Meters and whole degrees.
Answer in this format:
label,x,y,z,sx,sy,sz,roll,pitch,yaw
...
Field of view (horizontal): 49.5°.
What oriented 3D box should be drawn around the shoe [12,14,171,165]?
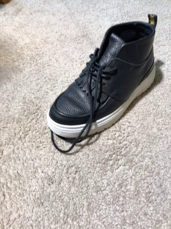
label,x,y,z,sx,sy,sz,roll,pitch,yaw
shoe,0.034,-0.055,0.325,0.263,0.111,0.107,-35,57,-20
